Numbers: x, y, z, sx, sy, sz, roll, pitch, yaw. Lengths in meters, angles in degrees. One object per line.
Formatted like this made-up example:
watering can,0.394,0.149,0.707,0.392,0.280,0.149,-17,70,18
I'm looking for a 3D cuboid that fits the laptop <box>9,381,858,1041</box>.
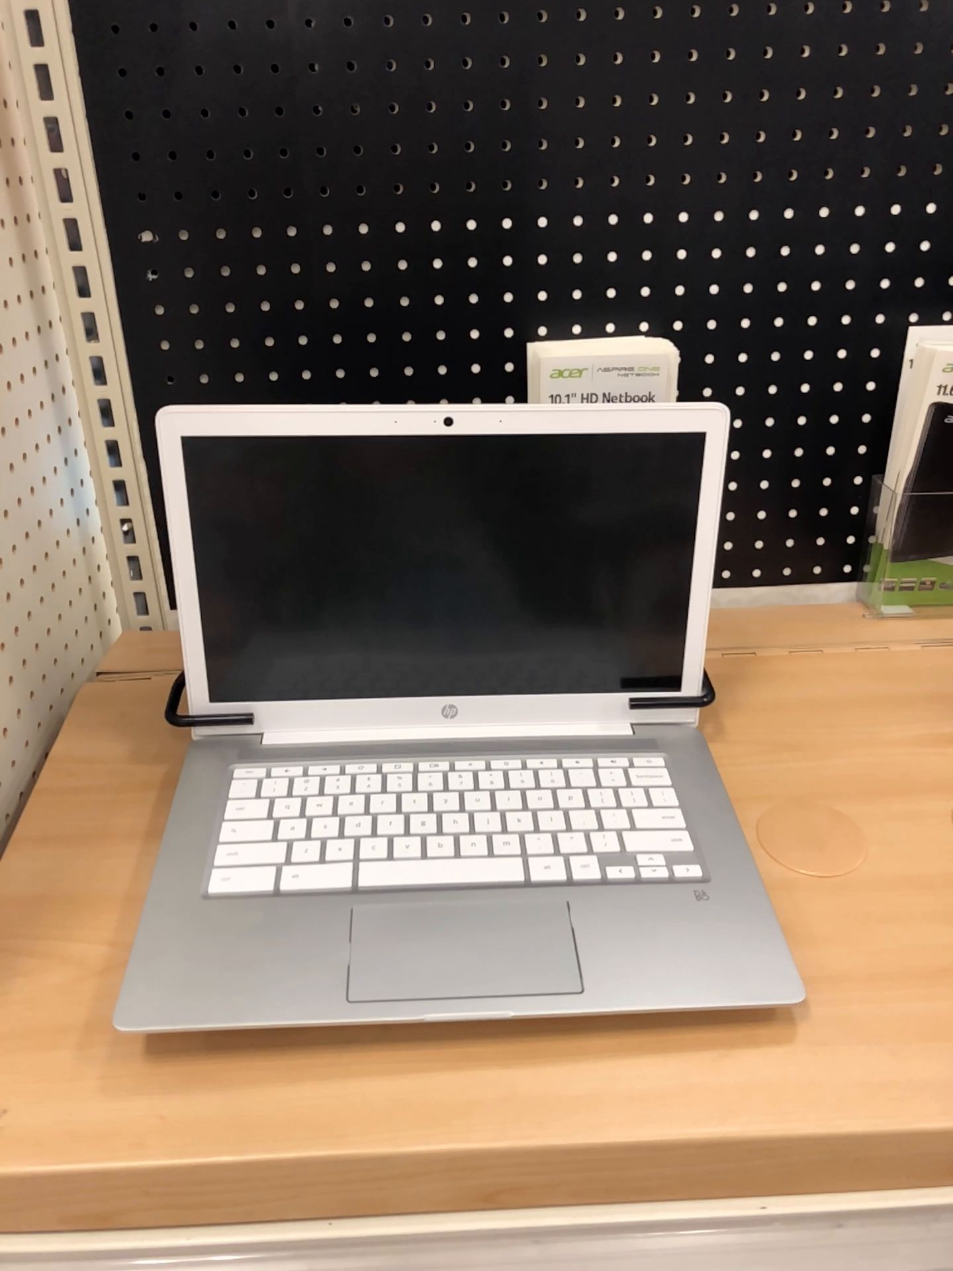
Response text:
laptop,-0.018,0.013,0.569,0.333,0.198,0.281,-2,30,-4
